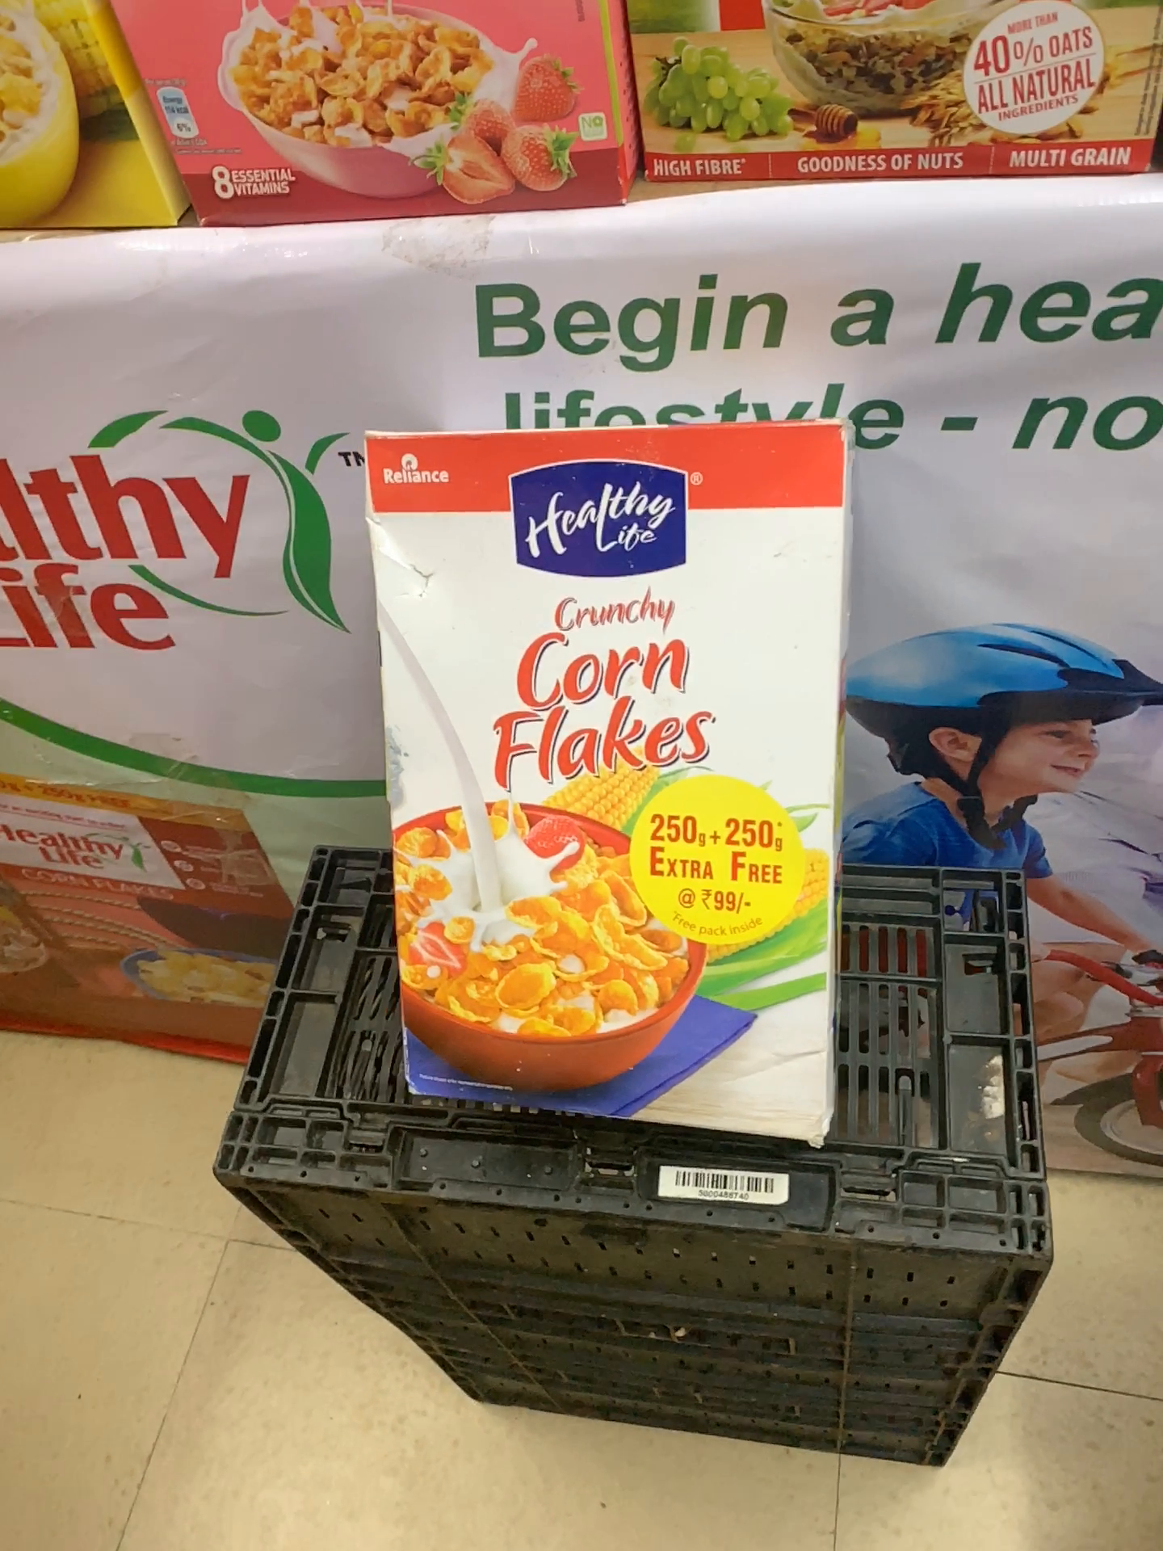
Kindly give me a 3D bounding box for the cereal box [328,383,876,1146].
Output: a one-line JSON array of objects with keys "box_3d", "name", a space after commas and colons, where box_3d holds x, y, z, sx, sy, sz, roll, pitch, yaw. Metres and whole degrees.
[{"box_3d": [0.016, -0.008, 0.499, 0.200, 0.280, 0.100, 2, 12, 14], "name": "cereal box"}]
